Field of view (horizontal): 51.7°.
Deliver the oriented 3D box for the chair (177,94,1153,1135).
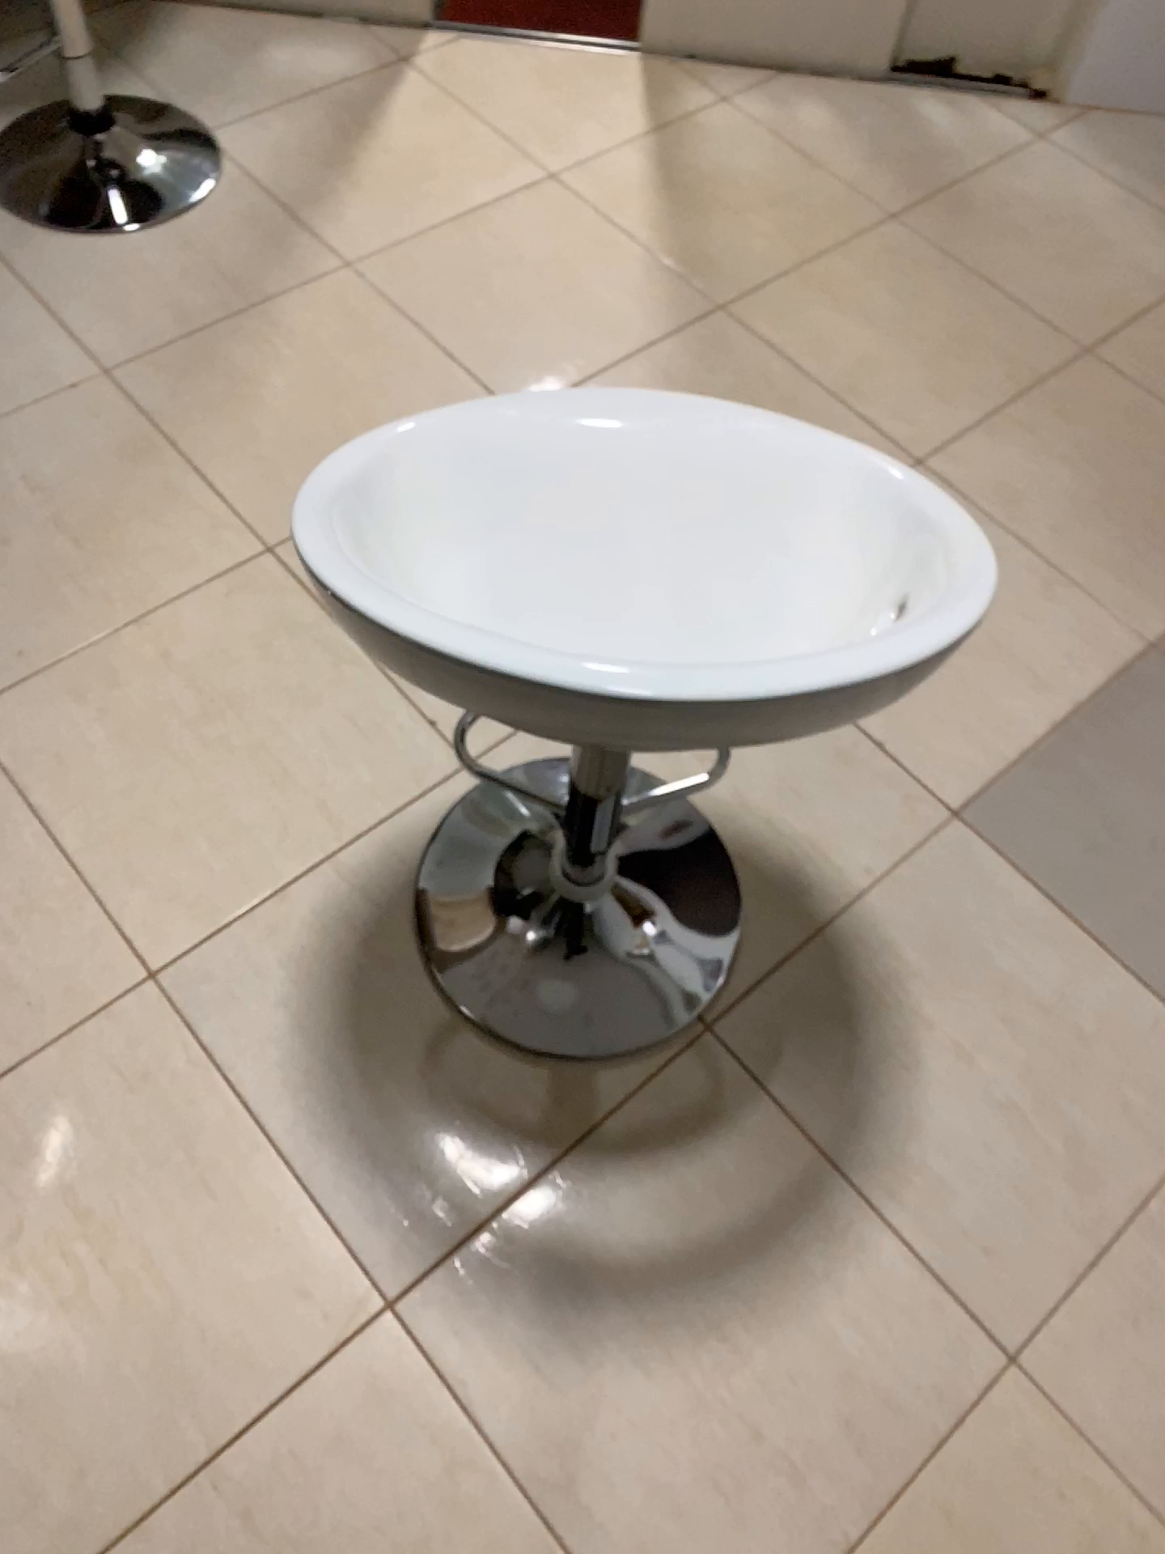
[{"bbox_3d":[0.031,-0.049,1.007,0.470,0.736,0.453,7,58,-2],"label":"chair"}]
